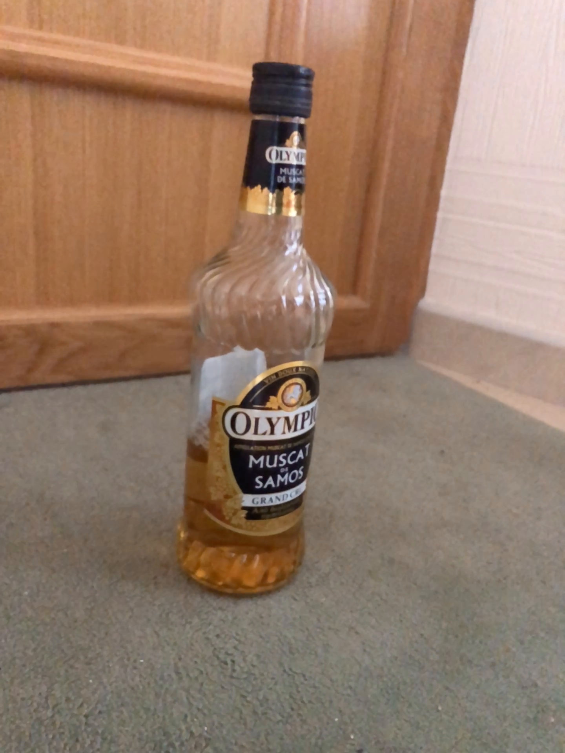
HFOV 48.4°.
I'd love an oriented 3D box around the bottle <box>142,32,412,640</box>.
[{"bbox_3d":[-0.017,-0.015,0.345,0.090,0.289,0.090,5,19,-2],"label":"bottle"}]
